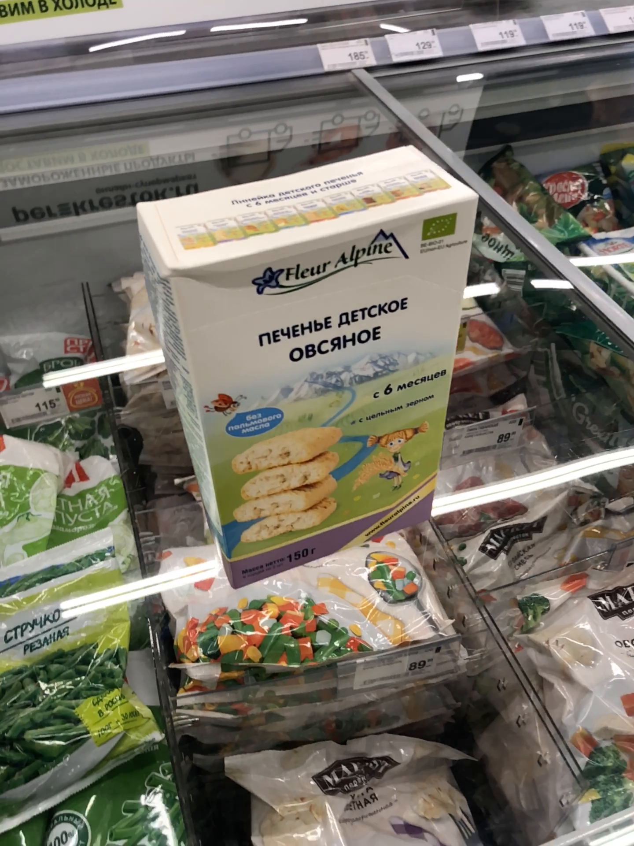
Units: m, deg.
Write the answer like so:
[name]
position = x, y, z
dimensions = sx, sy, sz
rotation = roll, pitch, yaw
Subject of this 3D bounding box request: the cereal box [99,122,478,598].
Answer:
[cereal box]
position = -0.008, -0.016, 0.306
dimensions = 0.120, 0.189, 0.050
rotation = -19, 47, -16
